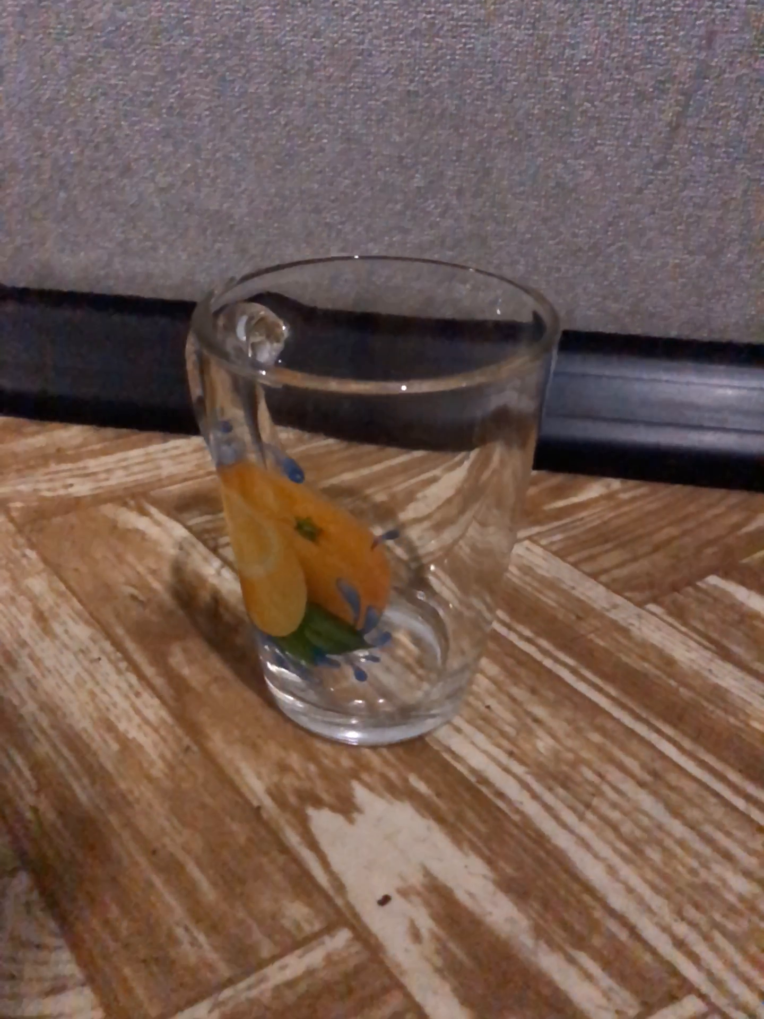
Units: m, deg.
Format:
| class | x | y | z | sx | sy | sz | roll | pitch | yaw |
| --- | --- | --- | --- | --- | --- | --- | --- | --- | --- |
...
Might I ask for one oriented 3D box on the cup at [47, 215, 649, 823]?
| class | x | y | z | sx | sy | sz | roll | pitch | yaw |
| --- | --- | --- | --- | --- | --- | --- | --- | --- | --- |
| cup | -0.012 | -0.009 | 0.225 | 0.085 | 0.098 | 0.117 | -28 | 43 | -36 |
